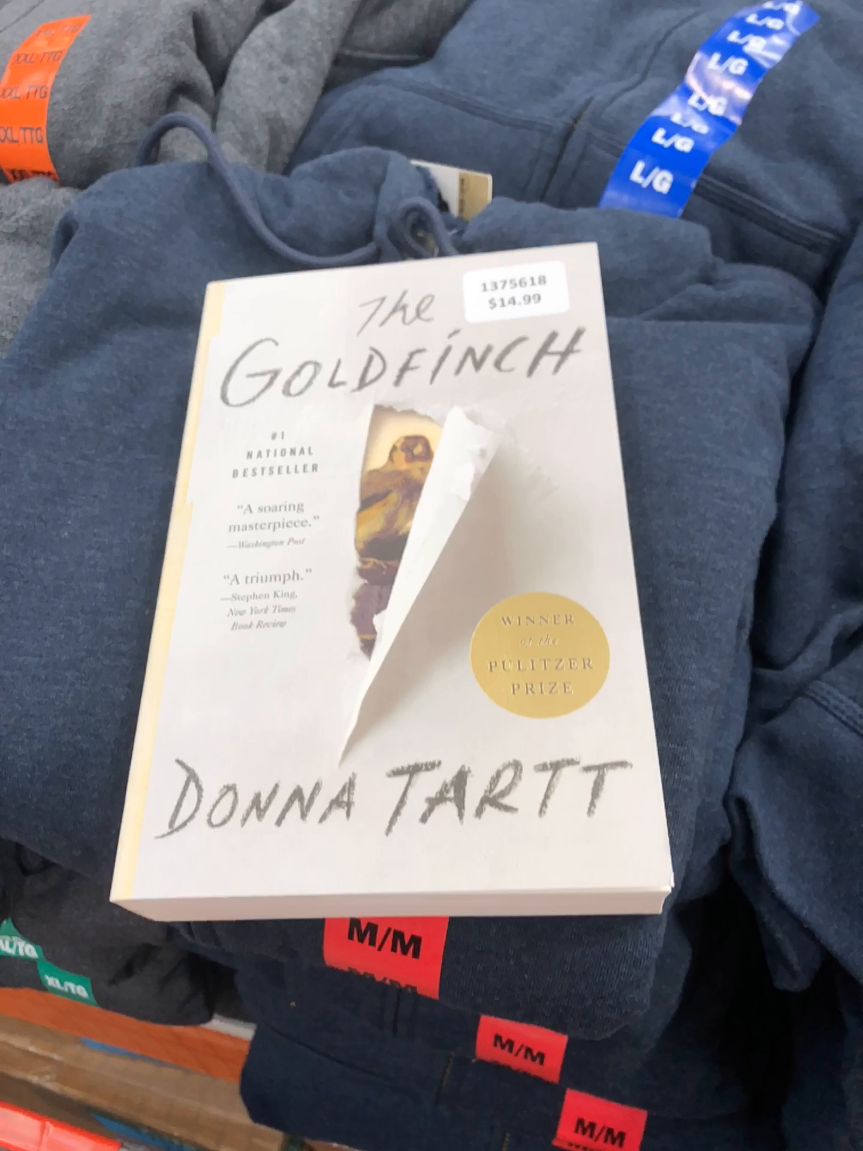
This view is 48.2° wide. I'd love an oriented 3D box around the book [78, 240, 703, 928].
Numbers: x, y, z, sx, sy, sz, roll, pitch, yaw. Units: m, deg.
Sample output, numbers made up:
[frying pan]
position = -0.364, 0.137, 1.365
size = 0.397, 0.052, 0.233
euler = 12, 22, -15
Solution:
[book]
position = -0.011, -0.007, 0.313
size = 0.158, 0.041, 0.222
euler = -4, 60, 6
